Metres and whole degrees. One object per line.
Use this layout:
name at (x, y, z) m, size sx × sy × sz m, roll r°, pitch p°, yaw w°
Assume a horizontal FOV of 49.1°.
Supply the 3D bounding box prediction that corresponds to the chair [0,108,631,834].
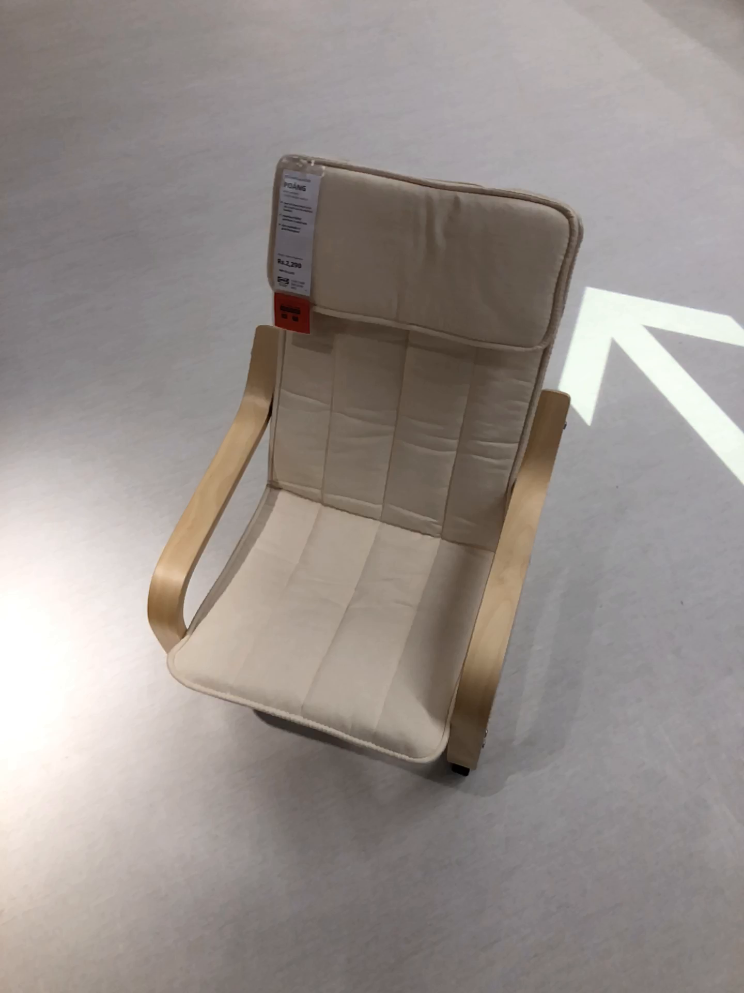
chair at (-0.046, 0.031, 1.197) m, size 0.560 × 0.836 × 0.582 m, roll 15°, pitch 60°, yaw 11°
